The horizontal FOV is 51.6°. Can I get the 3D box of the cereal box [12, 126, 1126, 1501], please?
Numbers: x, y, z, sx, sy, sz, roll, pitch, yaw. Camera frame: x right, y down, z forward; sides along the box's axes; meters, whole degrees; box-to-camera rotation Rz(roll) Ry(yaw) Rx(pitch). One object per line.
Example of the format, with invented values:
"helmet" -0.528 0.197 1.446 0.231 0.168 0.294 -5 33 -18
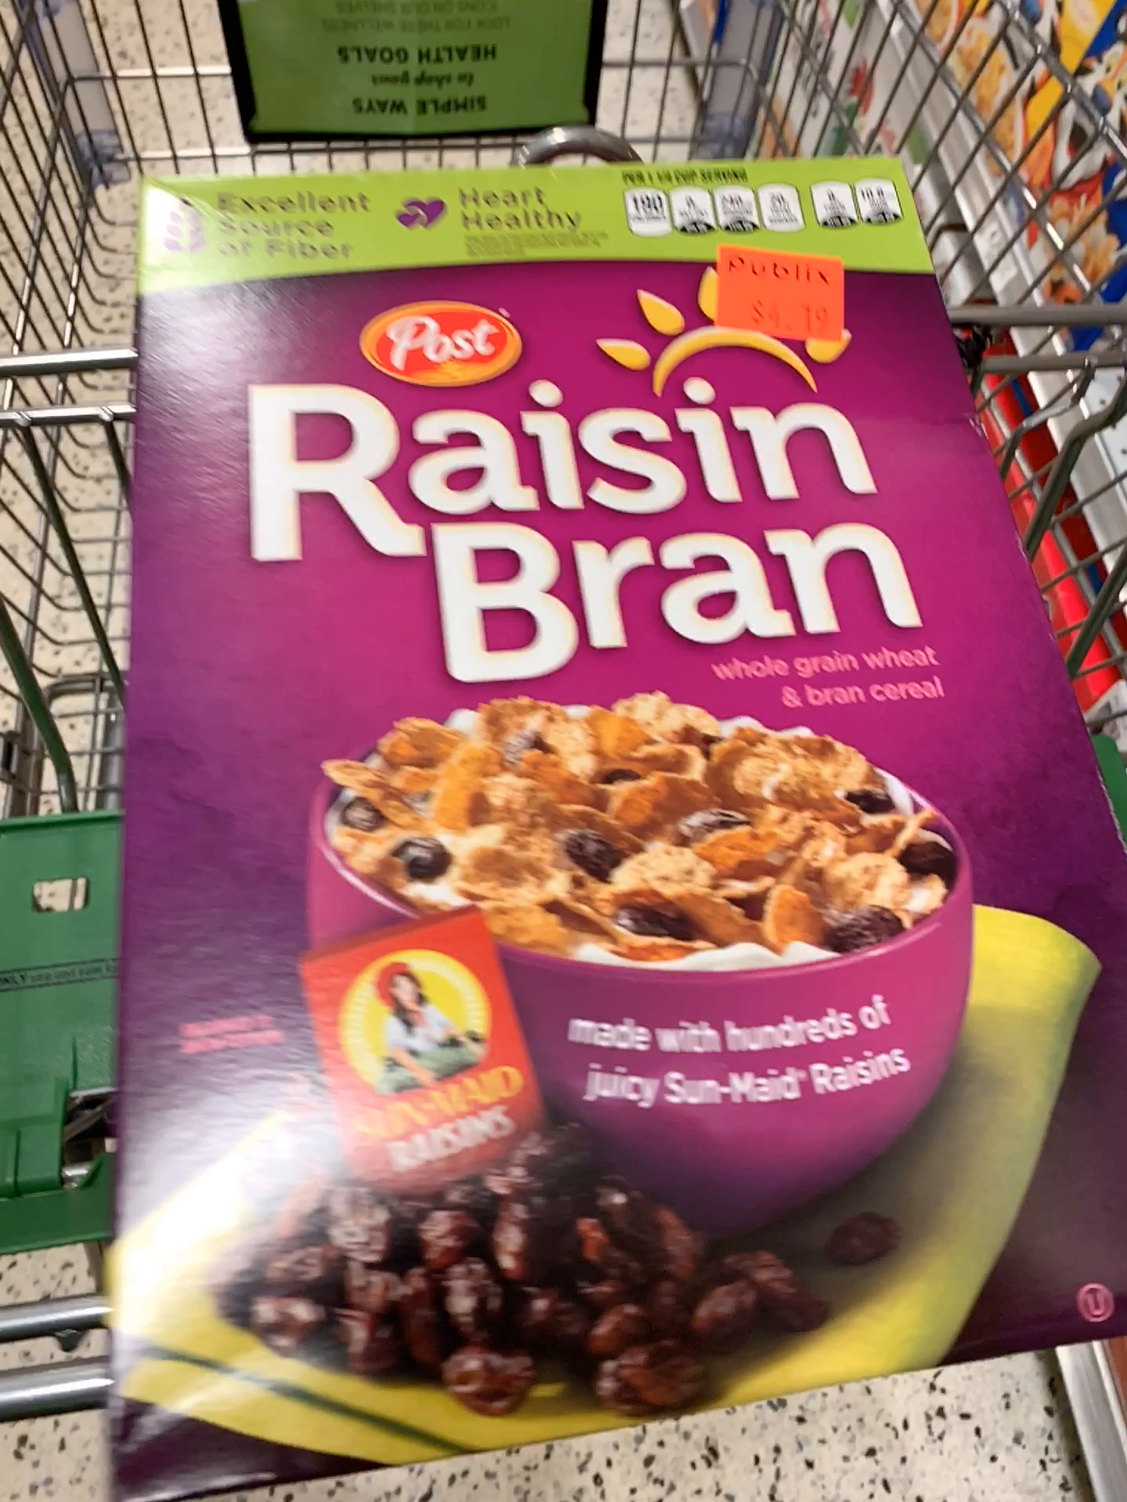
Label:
"cereal box" 0.010 -0.009 0.250 0.210 0.060 0.281 -5 66 -8
